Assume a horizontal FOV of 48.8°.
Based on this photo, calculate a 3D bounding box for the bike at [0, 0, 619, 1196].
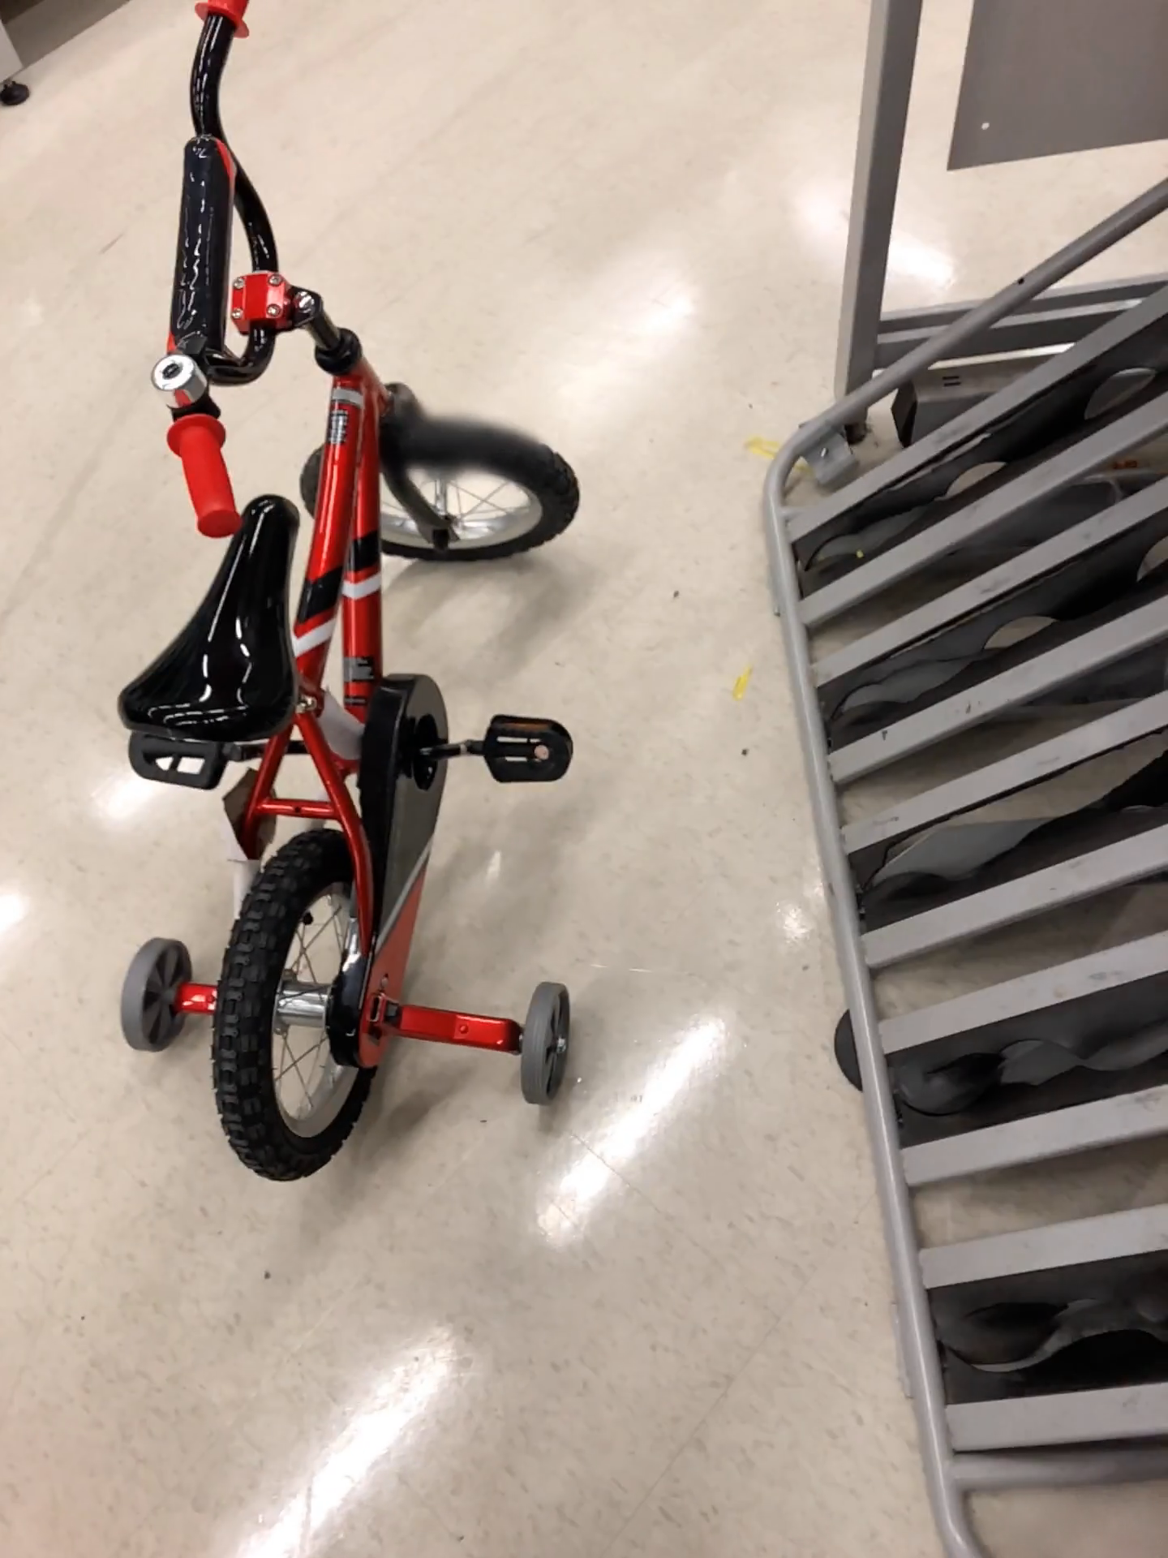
[{"bbox_3d":[-0.284,-0.102,1.019,0.531,0.679,0.701,-4,61,5],"label":"bike"}]
